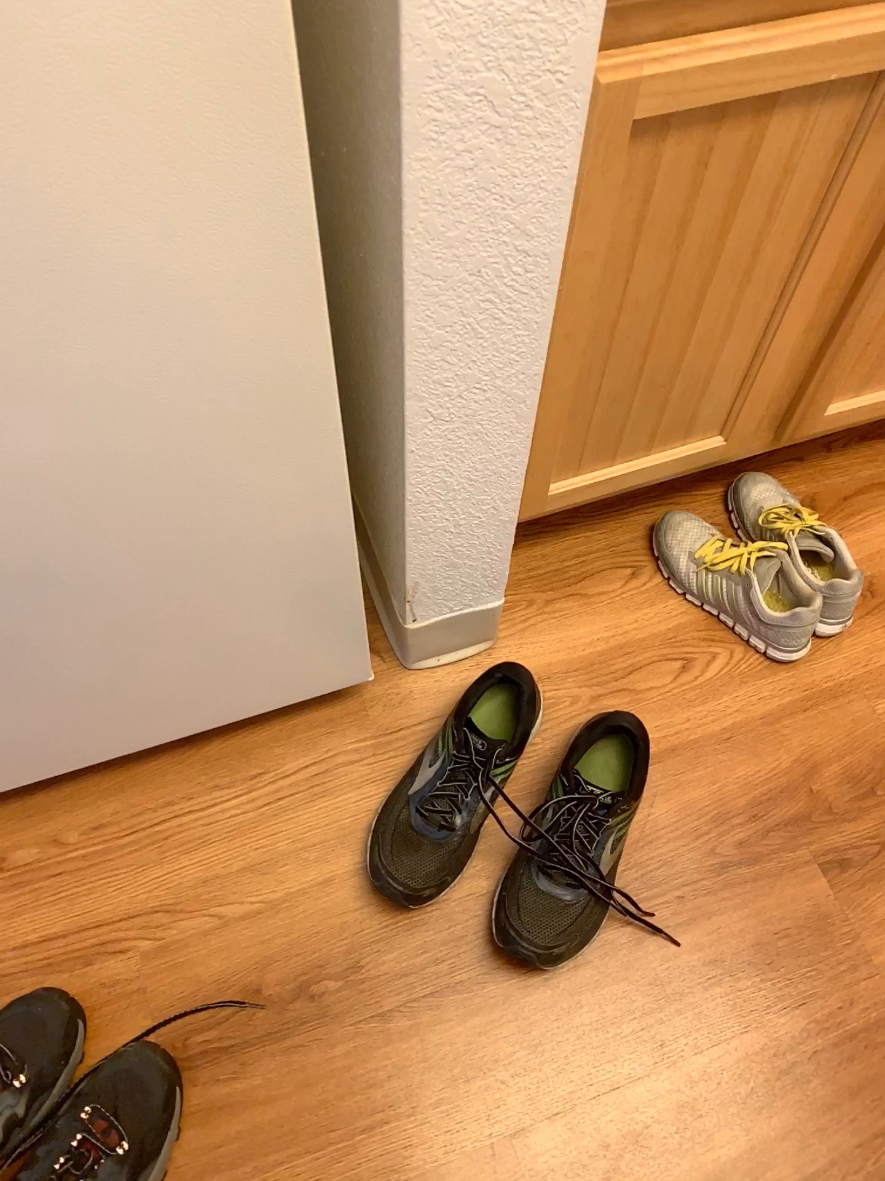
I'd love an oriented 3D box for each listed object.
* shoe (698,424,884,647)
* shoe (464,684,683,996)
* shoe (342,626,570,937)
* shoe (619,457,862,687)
[{"bbox_3d":[0.461,-0.077,1.221,0.100,0.110,0.271,-18,61,-5],"label":"shoe"},{"bbox_3d":[0.138,0.261,0.954,0.110,0.140,0.271,25,61,13],"label":"shoe"},{"bbox_3d":[0.018,0.199,0.955,0.100,0.140,0.281,27,61,14],"label":"shoe"},{"bbox_3d":[0.362,-0.025,1.130,0.100,0.110,0.271,-38,67,-15],"label":"shoe"}]
